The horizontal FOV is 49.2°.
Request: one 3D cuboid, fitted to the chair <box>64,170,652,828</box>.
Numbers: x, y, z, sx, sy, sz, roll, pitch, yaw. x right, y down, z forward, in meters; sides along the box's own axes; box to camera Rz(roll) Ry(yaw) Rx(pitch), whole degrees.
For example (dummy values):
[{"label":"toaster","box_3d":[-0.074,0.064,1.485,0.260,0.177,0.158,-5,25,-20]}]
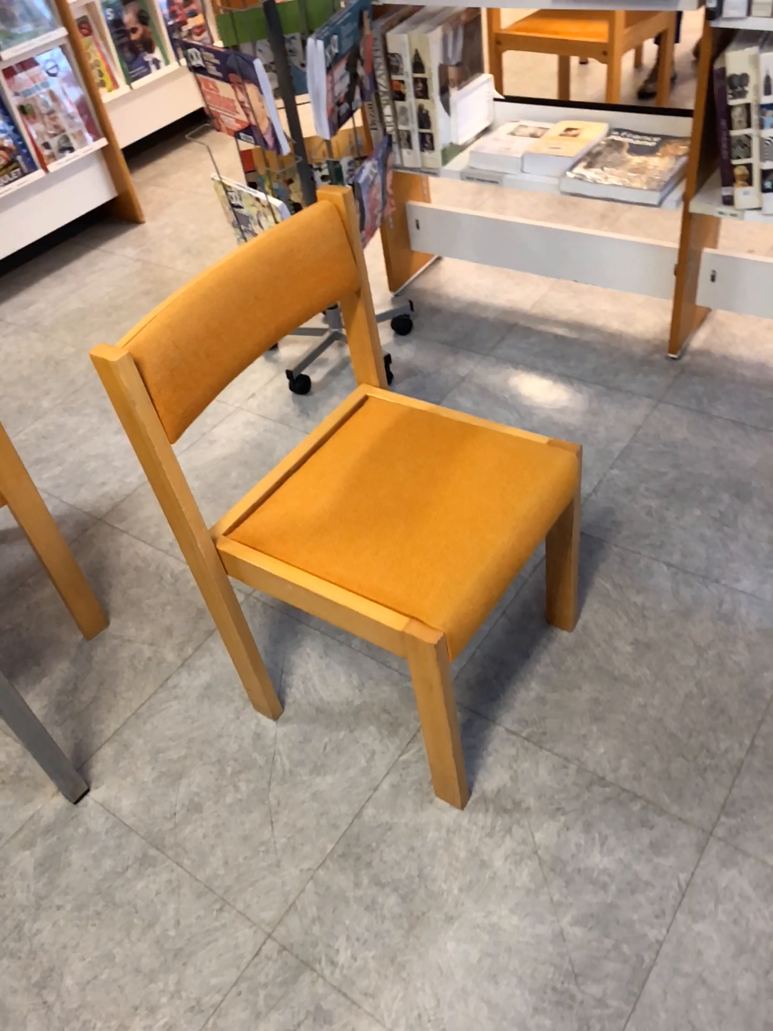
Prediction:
[{"label":"chair","box_3d":[0.021,-0.042,1.290,0.520,0.696,0.553,20,51,29]}]
